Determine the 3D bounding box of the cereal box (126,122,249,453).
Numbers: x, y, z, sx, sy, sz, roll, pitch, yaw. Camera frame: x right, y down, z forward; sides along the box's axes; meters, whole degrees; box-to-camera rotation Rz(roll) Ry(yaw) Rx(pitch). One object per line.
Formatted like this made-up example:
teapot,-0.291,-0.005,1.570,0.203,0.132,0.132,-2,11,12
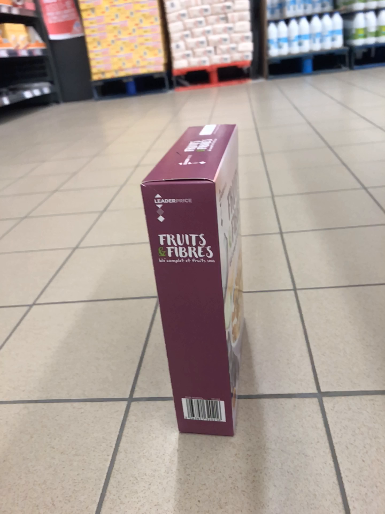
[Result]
cereal box,0.015,0.017,0.434,0.060,0.259,0.211,-2,26,11
